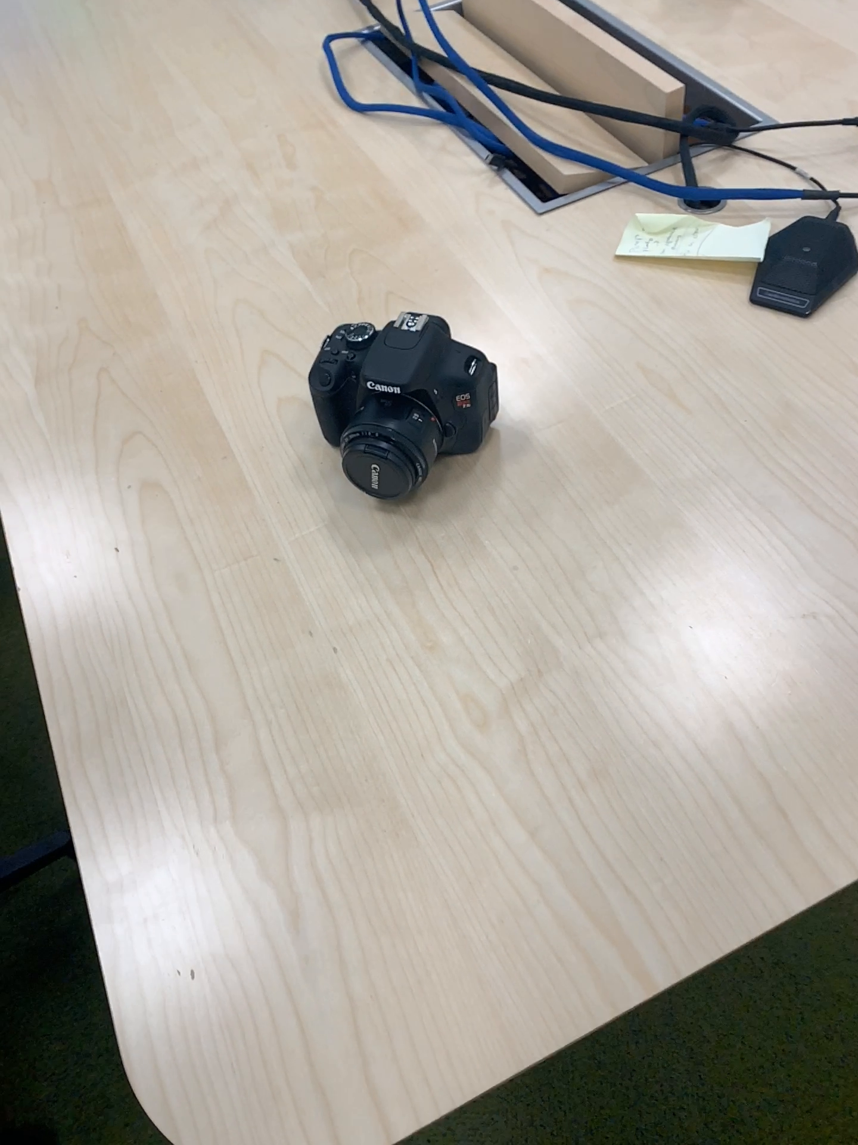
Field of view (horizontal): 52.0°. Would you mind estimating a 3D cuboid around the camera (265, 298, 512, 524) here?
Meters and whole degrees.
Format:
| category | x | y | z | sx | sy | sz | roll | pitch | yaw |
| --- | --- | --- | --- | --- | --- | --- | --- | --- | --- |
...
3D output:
| category | x | y | z | sx | sy | sz | roll | pitch | yaw |
| --- | --- | --- | --- | --- | --- | --- | --- | --- | --- |
| camera | -0.024 | -0.125 | 0.663 | 0.140 | 0.080 | 0.131 | 12 | 56 | 16 |
